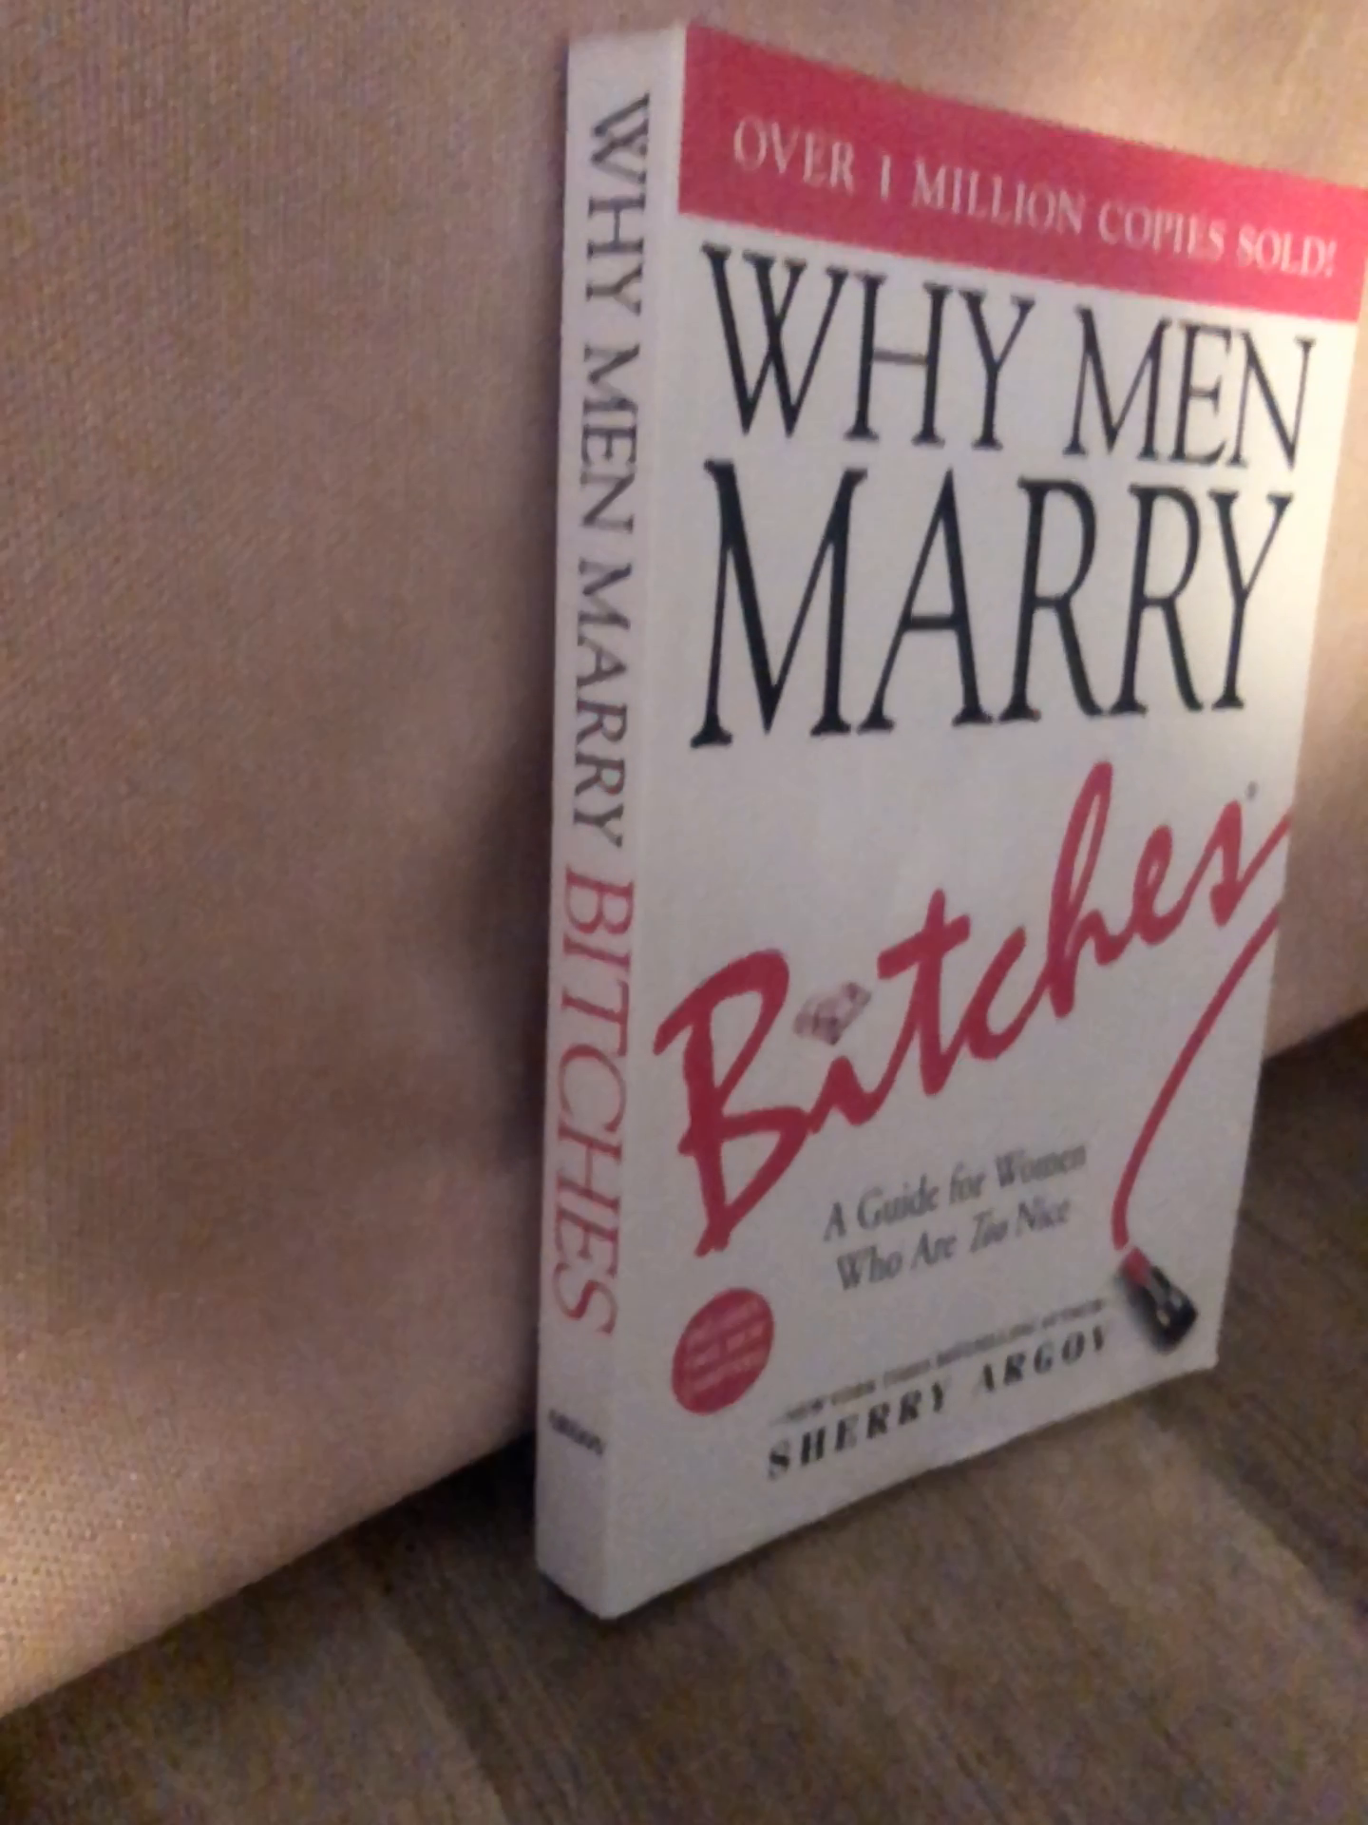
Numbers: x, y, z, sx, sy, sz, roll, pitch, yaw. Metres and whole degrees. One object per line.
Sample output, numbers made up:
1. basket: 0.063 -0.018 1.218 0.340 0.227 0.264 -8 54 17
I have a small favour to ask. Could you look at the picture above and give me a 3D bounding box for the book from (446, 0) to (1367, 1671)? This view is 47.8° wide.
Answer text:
1. book: 0.040 -0.009 0.253 0.151 0.219 0.037 -7 18 -35
